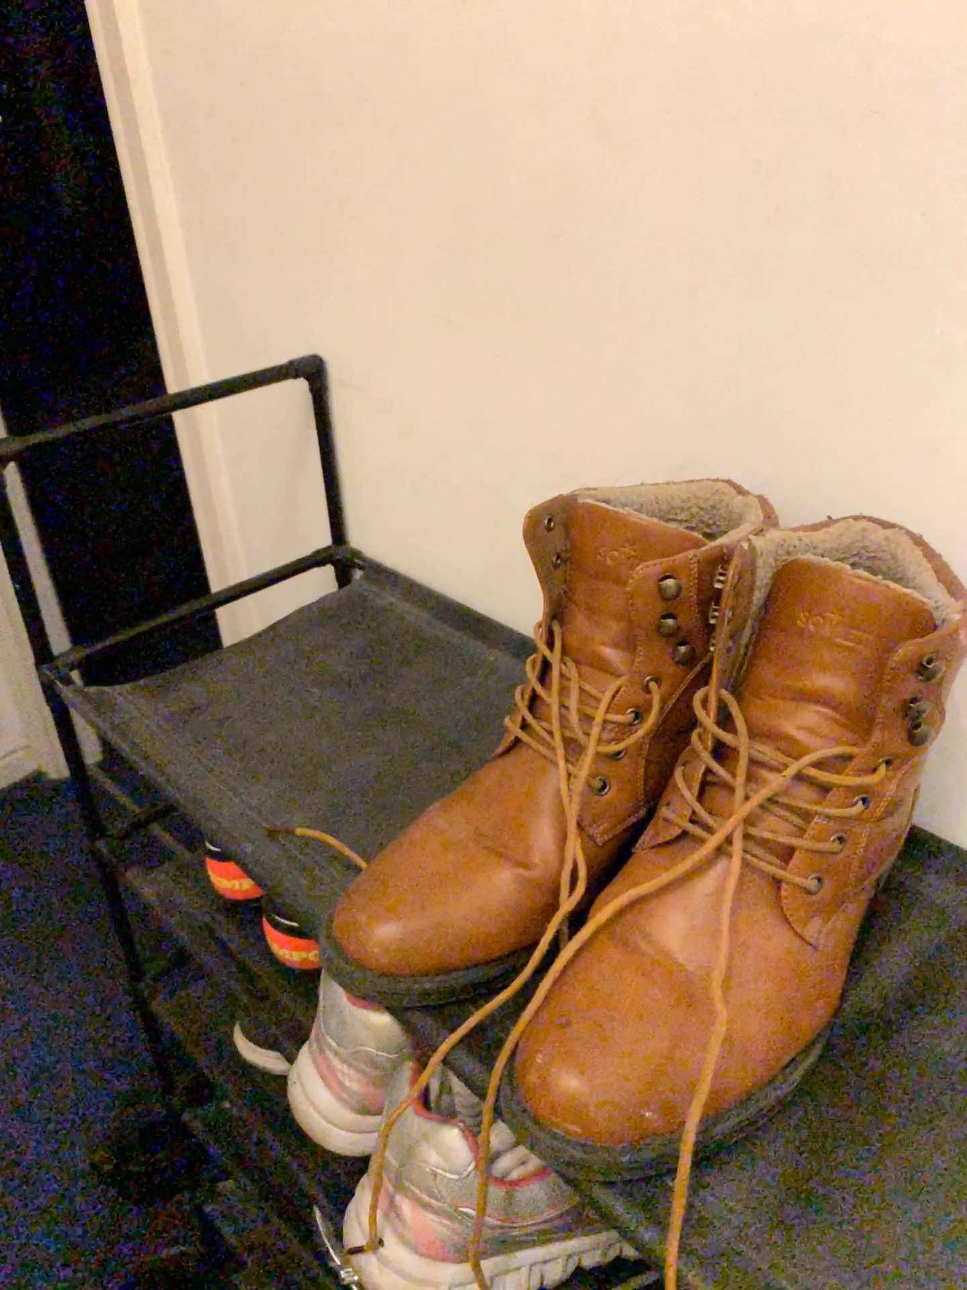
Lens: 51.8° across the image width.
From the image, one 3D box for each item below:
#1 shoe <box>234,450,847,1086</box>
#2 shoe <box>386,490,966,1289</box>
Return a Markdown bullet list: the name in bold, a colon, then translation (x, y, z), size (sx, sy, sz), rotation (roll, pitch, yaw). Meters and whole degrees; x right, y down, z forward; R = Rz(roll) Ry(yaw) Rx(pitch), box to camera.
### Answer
- **shoe**: translation (0.040, 0.044, 0.502), size (0.271, 0.198, 0.111), rotation (-23, 35, -30)
- **shoe**: translation (0.098, 0.078, 0.410), size (0.241, 0.198, 0.110), rotation (-28, 38, -36)
